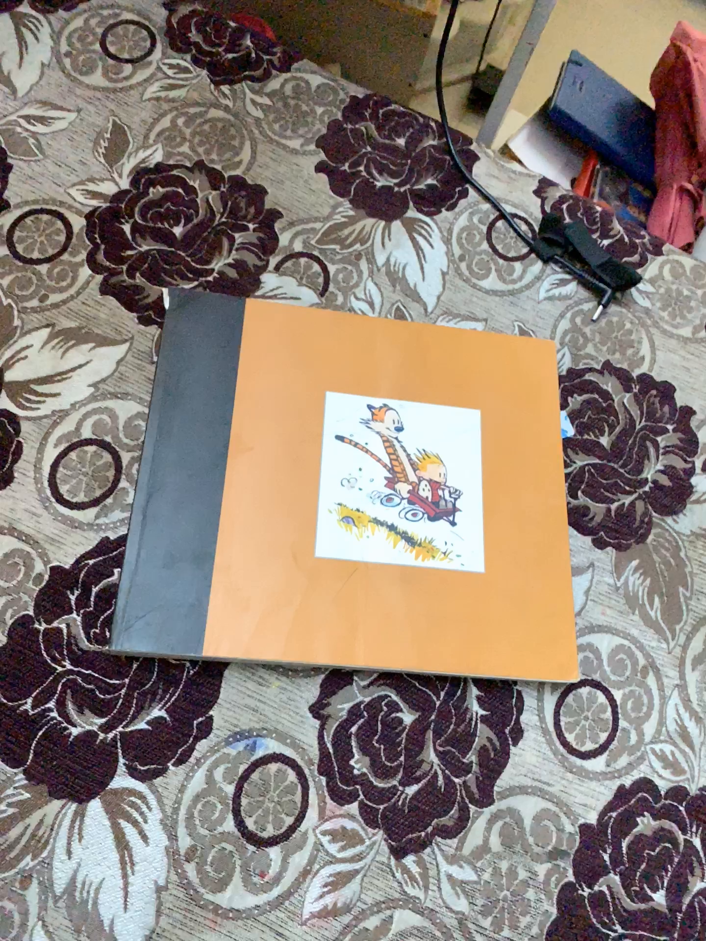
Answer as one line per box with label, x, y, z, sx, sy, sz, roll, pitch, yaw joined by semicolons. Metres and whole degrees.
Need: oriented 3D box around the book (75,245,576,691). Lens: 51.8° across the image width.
book;-0.007;-0.006;0.458;0.270;0.040;0.261;6;66;-8
